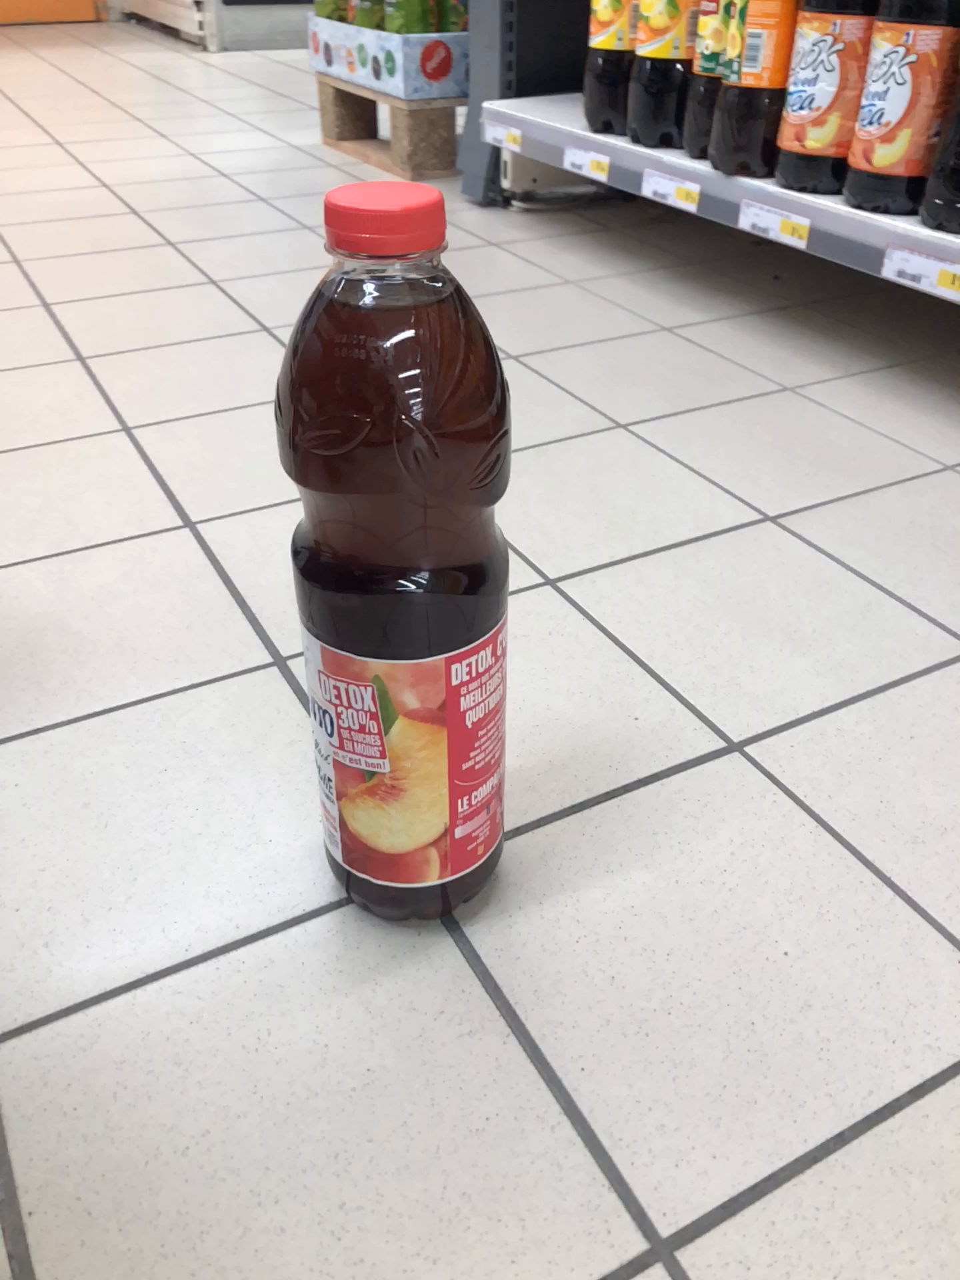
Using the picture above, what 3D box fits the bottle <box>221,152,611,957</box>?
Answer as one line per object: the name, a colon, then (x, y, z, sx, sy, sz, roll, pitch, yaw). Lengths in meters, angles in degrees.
bottle: (-0.024, -0.023, 0.411, 0.090, 0.288, 0.090, 1, 34, 0)
